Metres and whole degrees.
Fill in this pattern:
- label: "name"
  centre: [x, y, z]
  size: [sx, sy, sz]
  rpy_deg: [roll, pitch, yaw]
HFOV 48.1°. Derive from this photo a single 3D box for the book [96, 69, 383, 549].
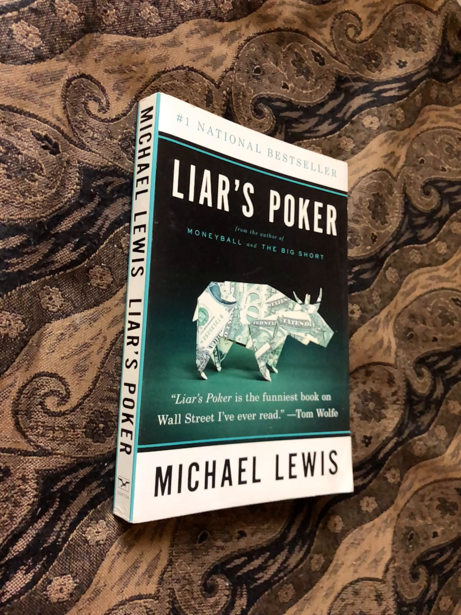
- label: "book"
  centre: [0.015, 0.005, 0.284]
  size: [0.151, 0.040, 0.210]
  rpy_deg: [8, 83, -35]
